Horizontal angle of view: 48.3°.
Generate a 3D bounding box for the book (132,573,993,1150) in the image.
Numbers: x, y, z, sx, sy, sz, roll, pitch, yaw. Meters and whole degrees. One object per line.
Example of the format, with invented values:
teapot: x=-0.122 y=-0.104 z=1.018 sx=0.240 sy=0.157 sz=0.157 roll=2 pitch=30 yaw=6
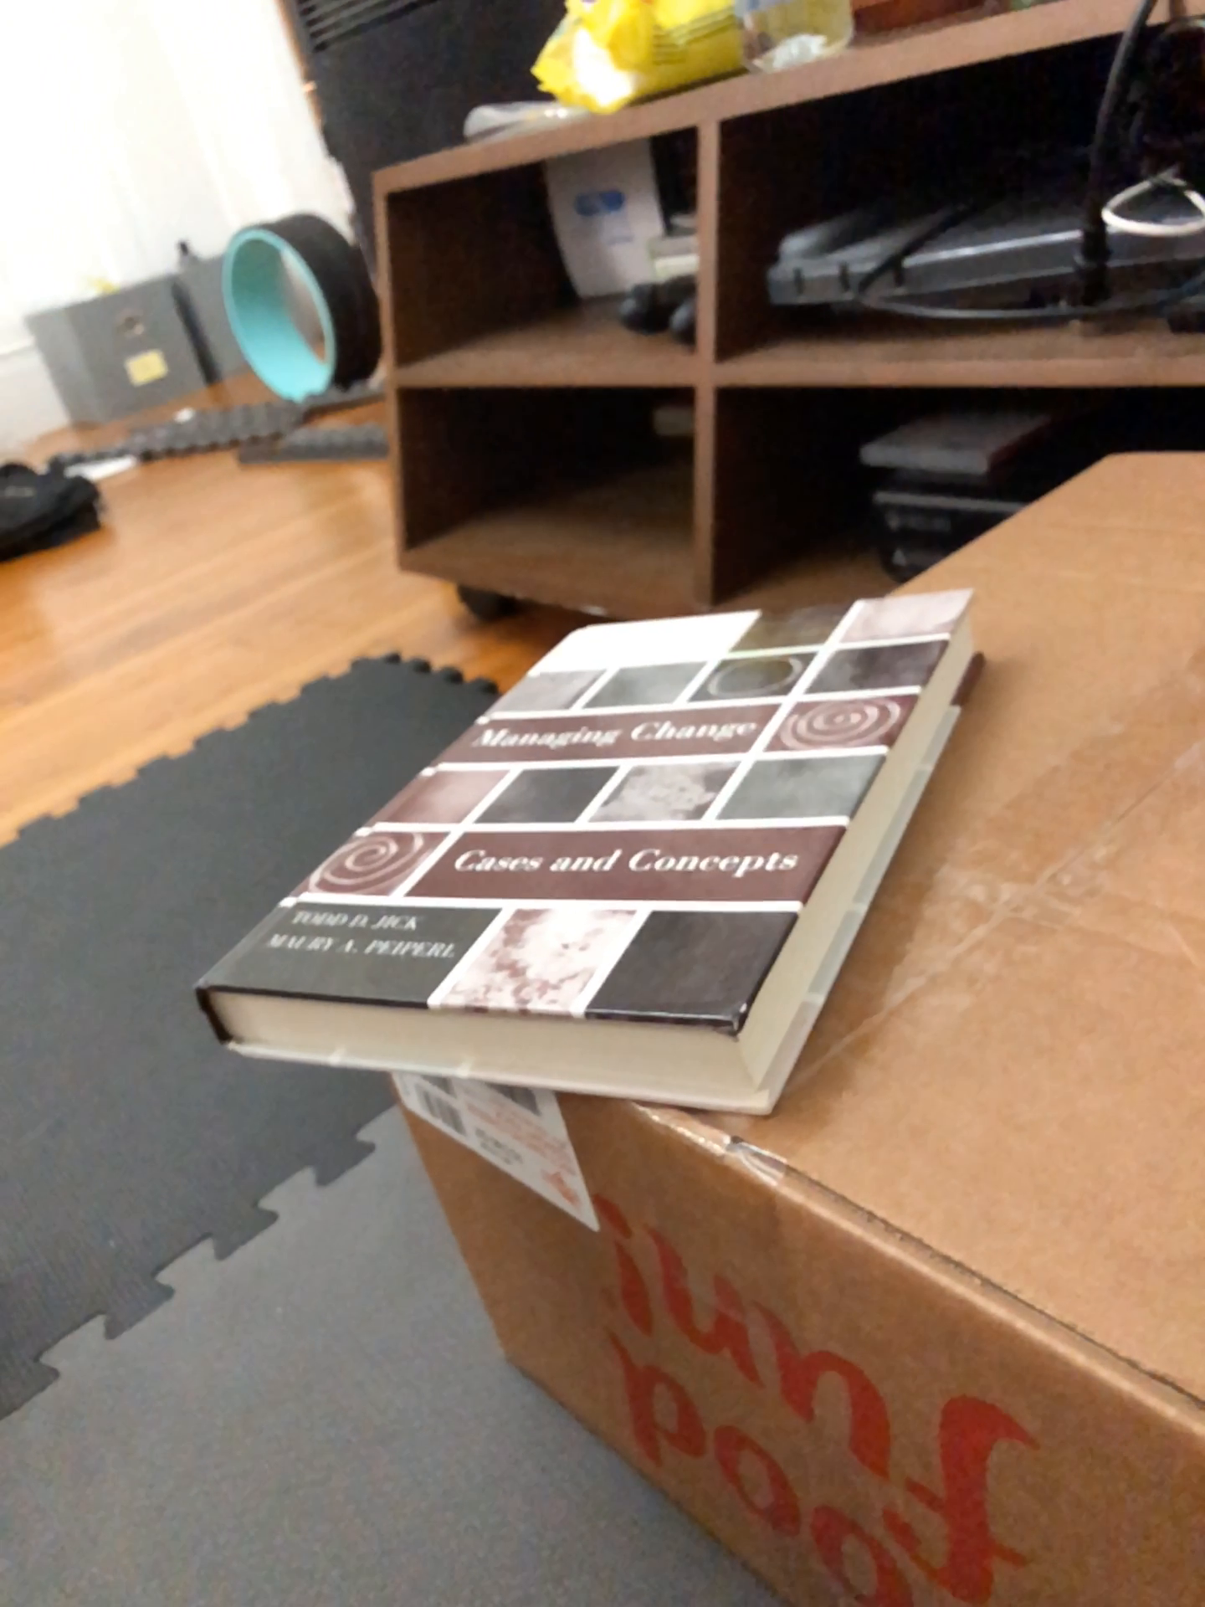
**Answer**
book: x=0.005 y=-0.003 z=0.425 sx=0.180 sy=0.030 sz=0.251 roll=0 pitch=31 yaw=29
